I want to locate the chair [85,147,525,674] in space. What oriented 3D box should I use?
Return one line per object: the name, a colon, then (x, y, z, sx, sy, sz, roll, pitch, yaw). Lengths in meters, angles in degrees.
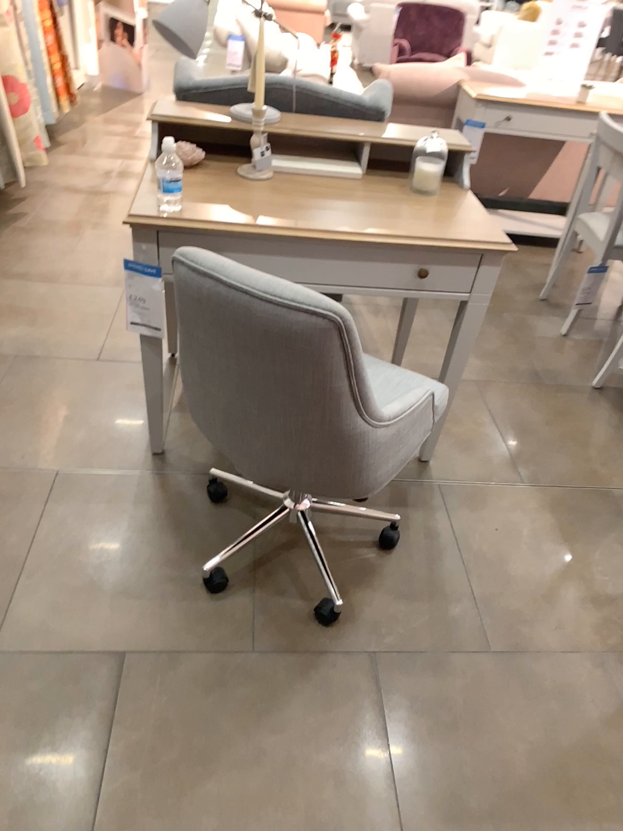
chair: (-0.022, -0.043, 1.504, 0.626, 0.890, 0.640, 25, 40, 21)
